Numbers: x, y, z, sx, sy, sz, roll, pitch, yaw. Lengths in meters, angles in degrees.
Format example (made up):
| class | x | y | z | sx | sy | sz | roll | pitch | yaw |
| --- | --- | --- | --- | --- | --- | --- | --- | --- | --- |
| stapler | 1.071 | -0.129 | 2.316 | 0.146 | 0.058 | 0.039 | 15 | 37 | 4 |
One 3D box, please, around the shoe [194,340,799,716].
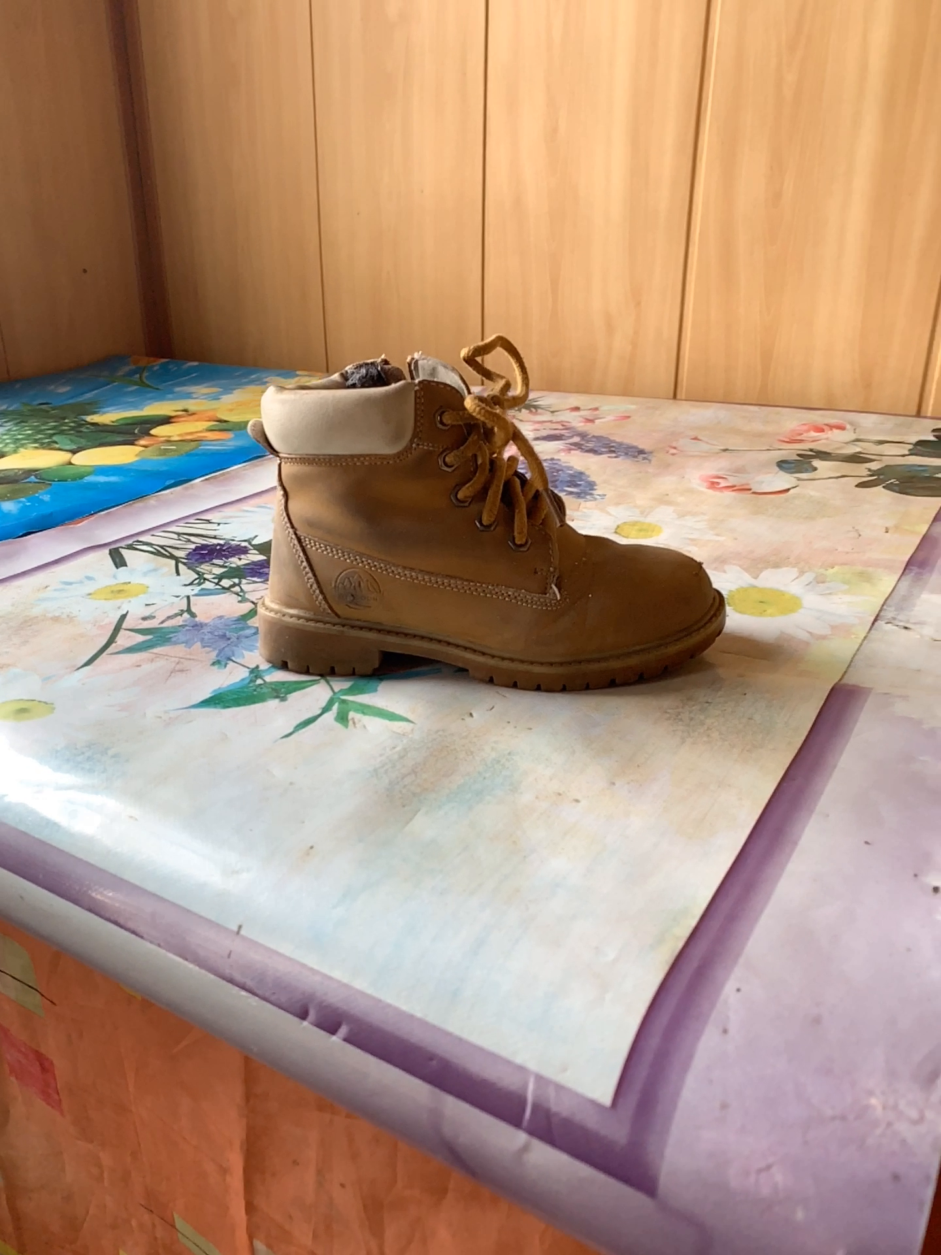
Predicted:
| class | x | y | z | sx | sy | sz | roll | pitch | yaw |
| --- | --- | --- | --- | --- | --- | --- | --- | --- | --- |
| shoe | 0.011 | -0.049 | 0.414 | 0.220 | 0.129 | 0.091 | 3 | 23 | 8 |
